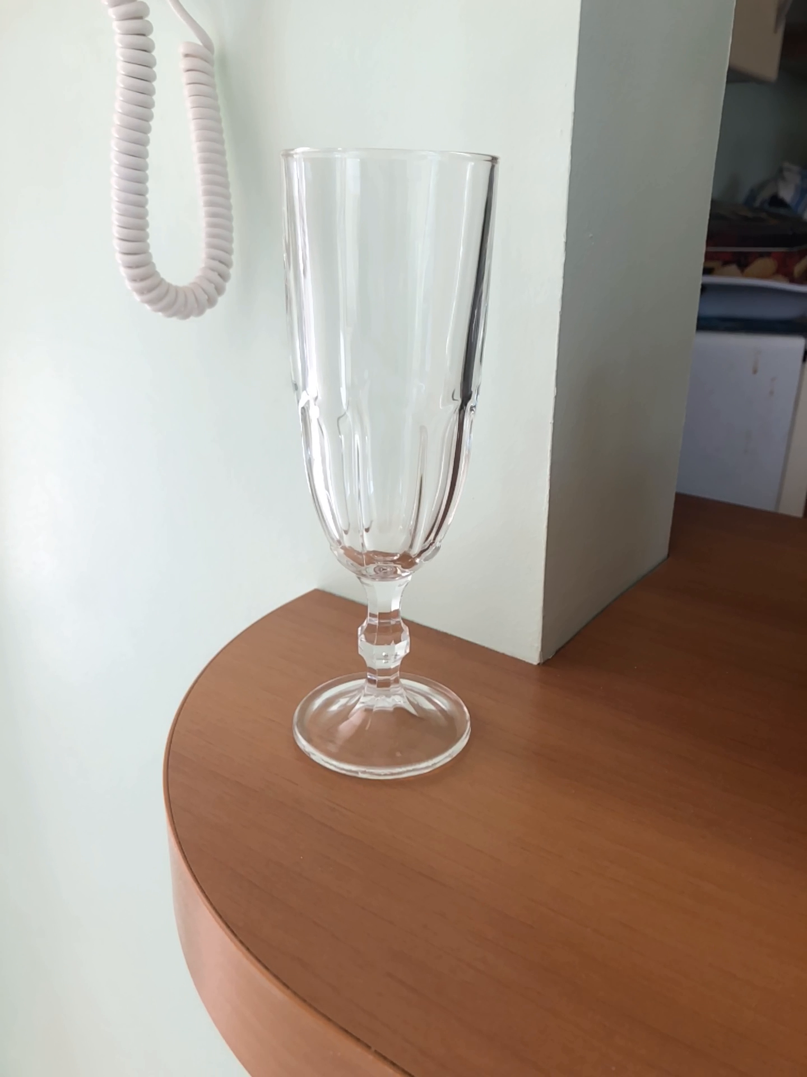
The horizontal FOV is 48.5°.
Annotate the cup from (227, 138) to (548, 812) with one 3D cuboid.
[{"bbox_3d":[-0.009,-0.020,0.258,0.060,0.169,0.070,-8,22,-22],"label":"cup"}]
